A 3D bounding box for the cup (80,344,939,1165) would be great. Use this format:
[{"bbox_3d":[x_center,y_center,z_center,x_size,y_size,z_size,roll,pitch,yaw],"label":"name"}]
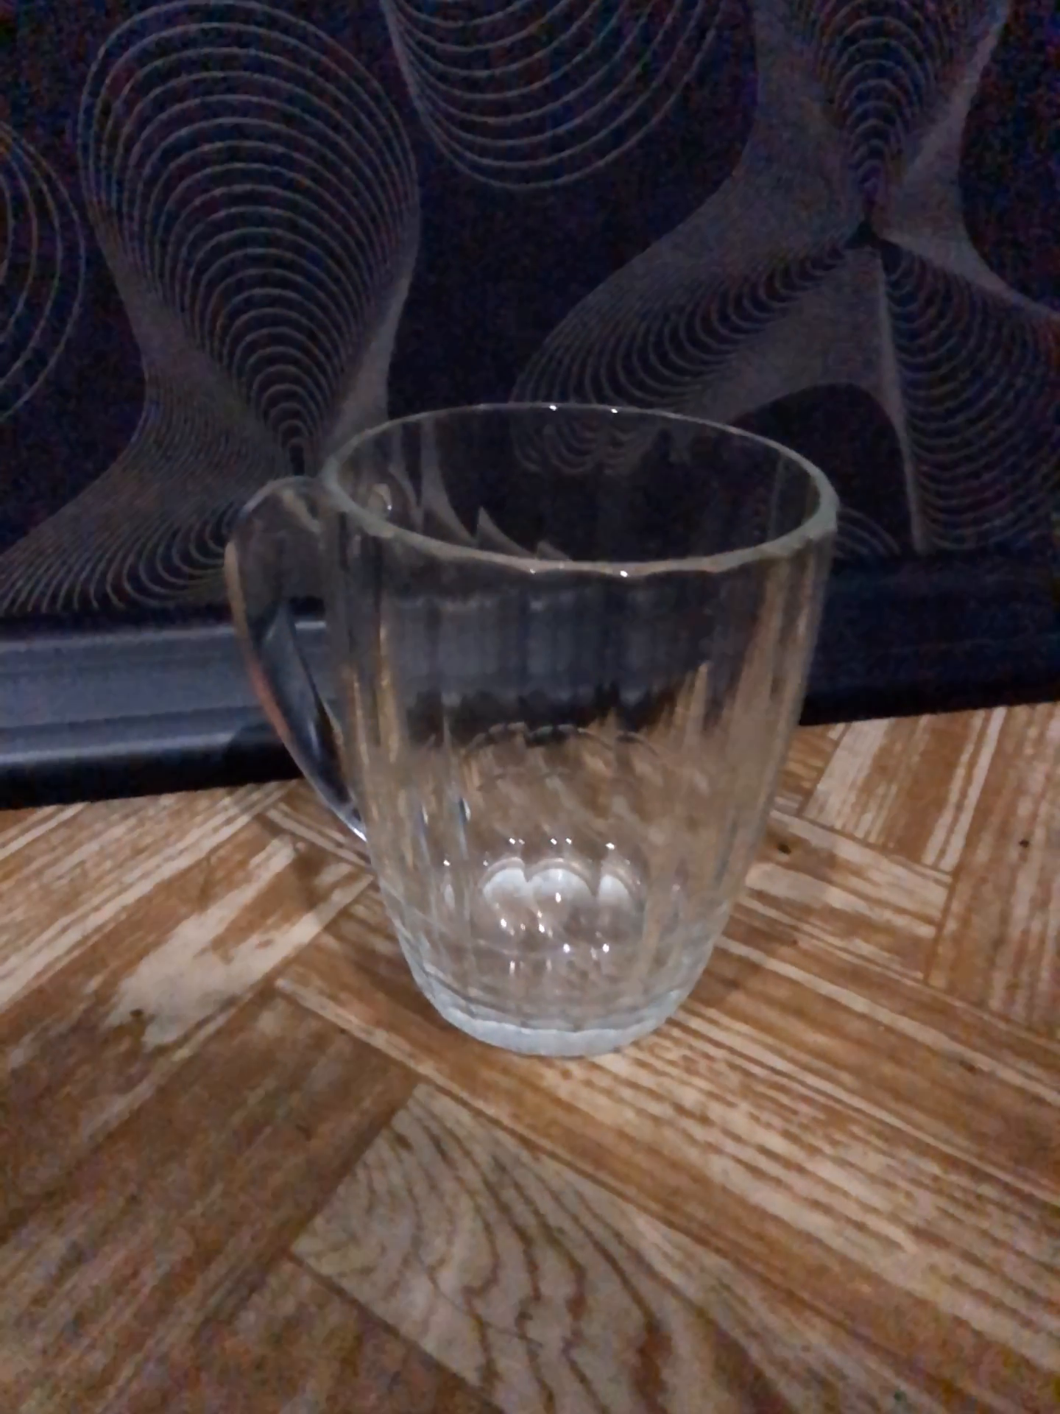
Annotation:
[{"bbox_3d":[-0.001,-0.006,0.255,0.126,0.107,0.114,19,33,30],"label":"cup"}]
